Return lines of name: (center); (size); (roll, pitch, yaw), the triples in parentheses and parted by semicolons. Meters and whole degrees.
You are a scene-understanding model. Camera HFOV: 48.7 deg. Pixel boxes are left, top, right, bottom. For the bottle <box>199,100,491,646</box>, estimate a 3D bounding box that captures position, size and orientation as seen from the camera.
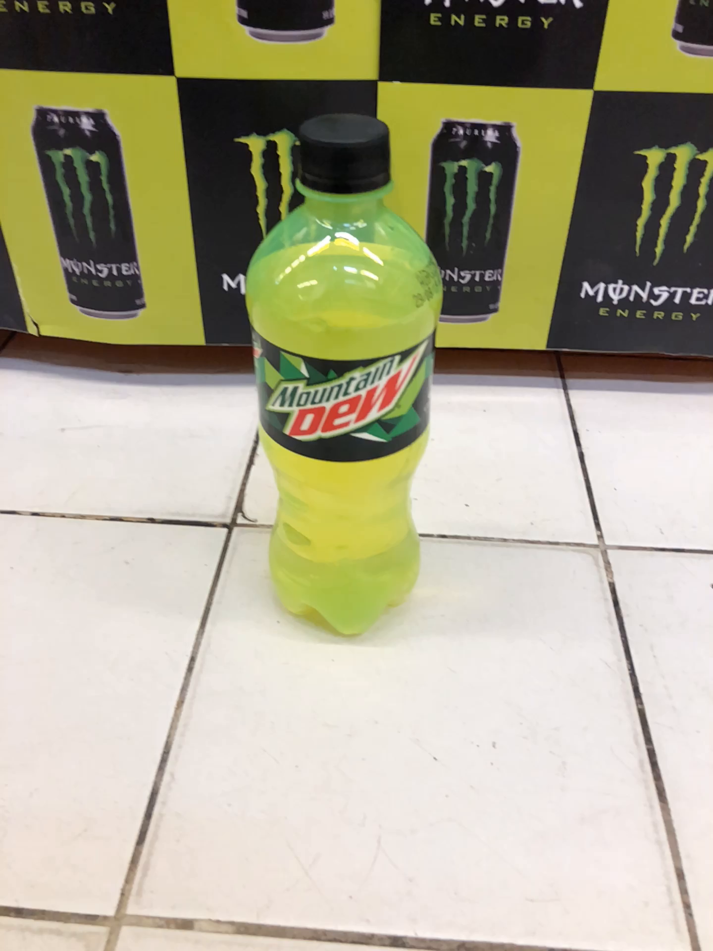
bottle: (-0.002, -0.028, 0.305); (0.080, 0.199, 0.070); (2, 39, 2)
